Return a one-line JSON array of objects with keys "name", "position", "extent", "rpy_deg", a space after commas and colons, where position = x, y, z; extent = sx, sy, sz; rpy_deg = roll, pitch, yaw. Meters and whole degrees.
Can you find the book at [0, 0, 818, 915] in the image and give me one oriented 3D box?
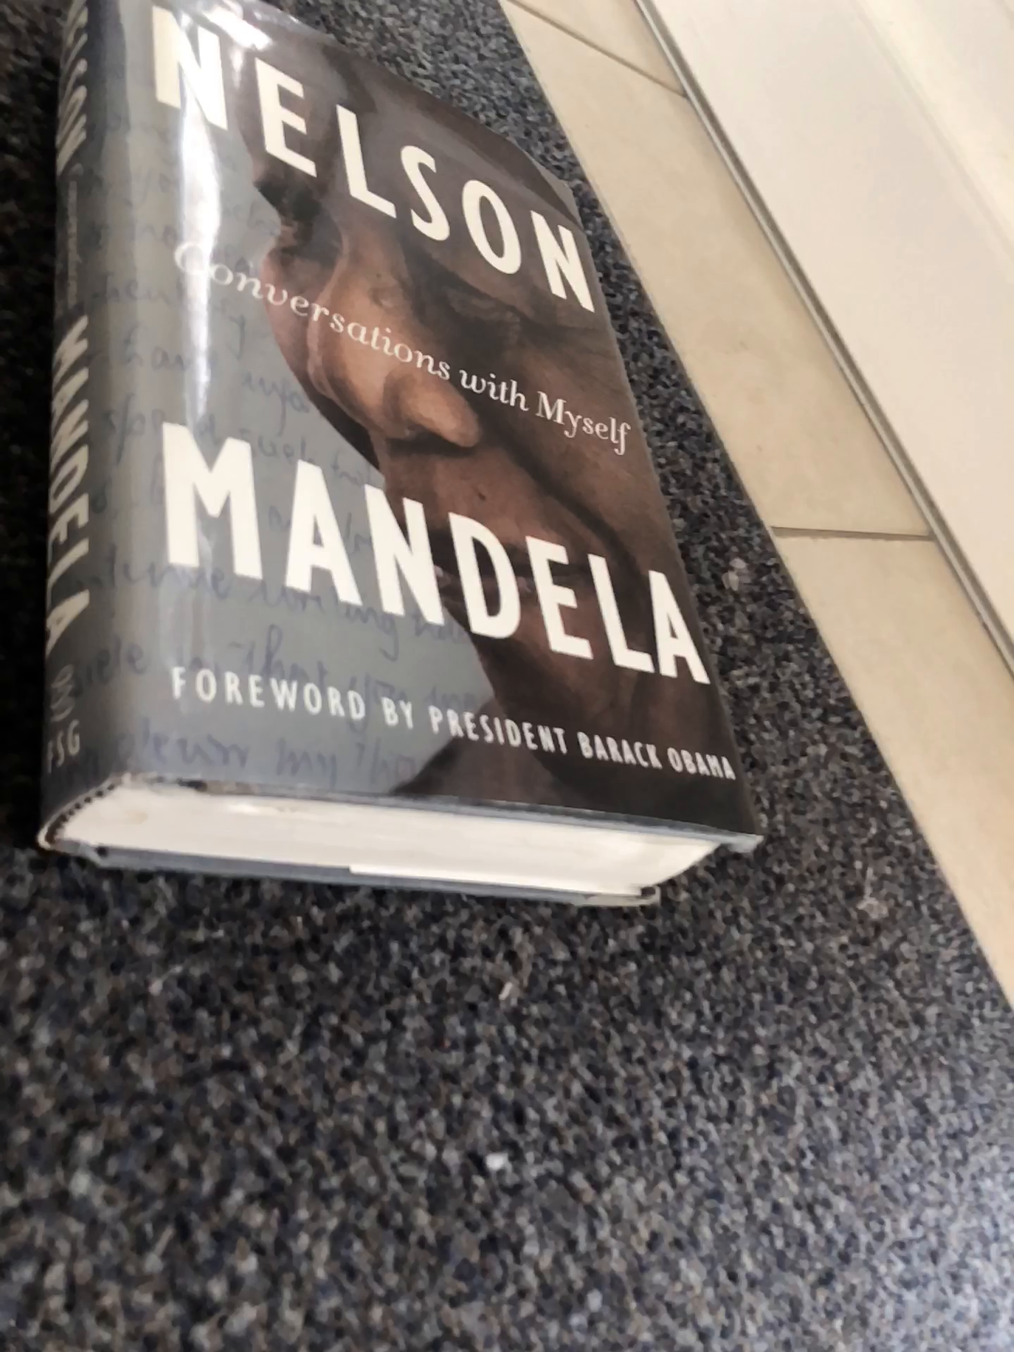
[{"name": "book", "position": [-0.029, -0.073, 0.283], "extent": [0.171, 0.050, 0.250], "rpy_deg": [14, 53, -39]}]
